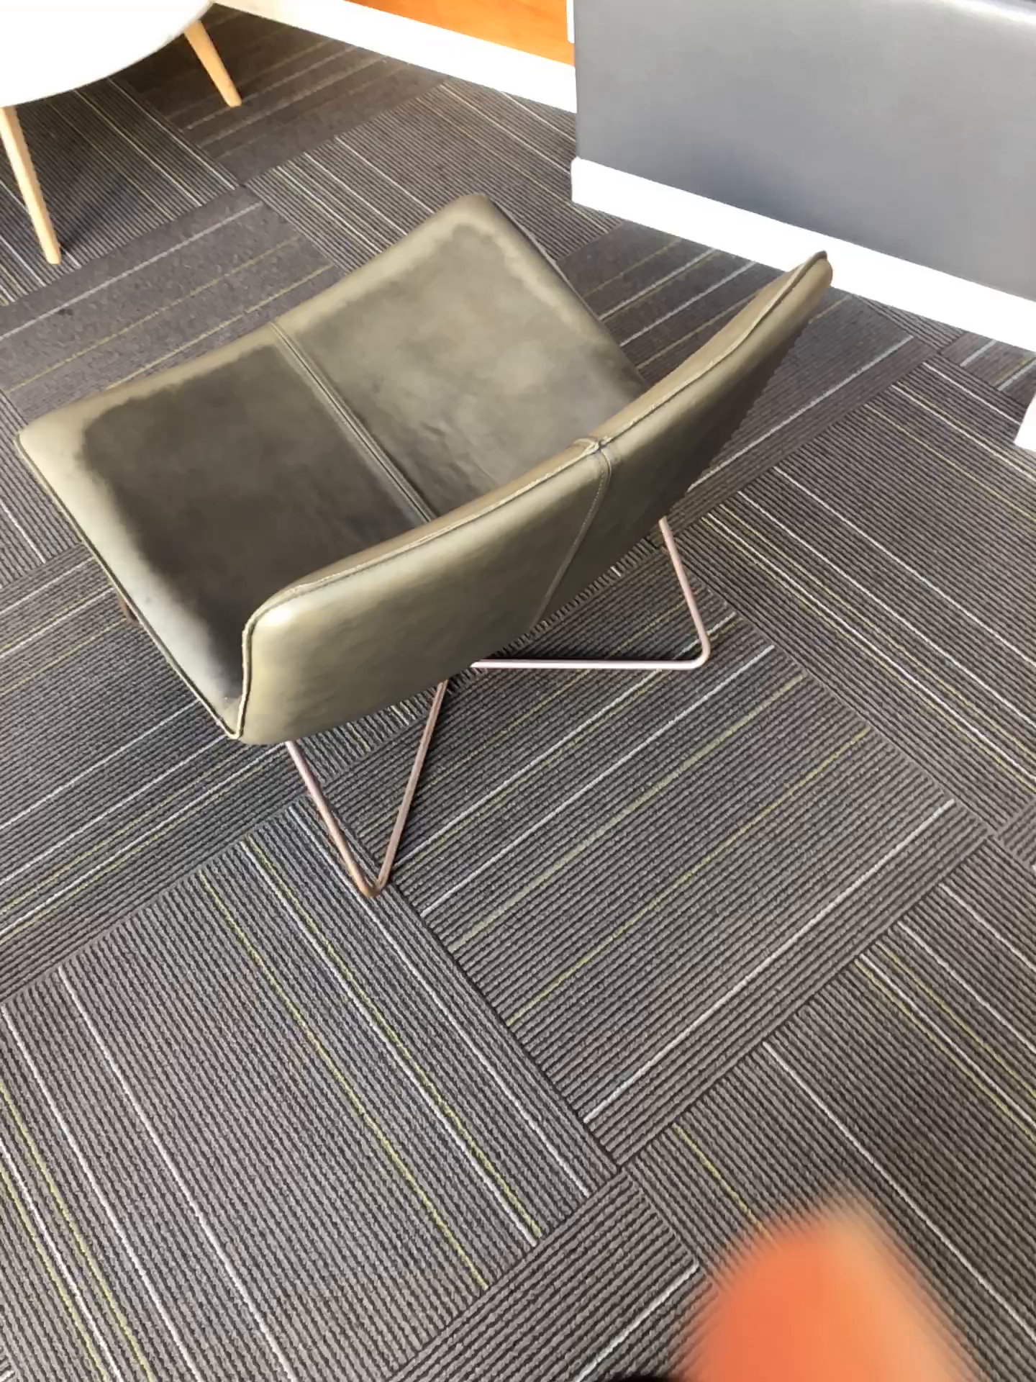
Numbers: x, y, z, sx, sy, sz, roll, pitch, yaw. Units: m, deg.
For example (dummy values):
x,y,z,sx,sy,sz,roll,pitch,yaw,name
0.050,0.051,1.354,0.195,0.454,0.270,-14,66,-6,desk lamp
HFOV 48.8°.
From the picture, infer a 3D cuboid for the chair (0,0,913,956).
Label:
x,y,z,sx,sy,sz,roll,pitch,yaw,name
-0.160,-0.276,1.290,0.670,0.878,0.651,-34,67,-17,chair
